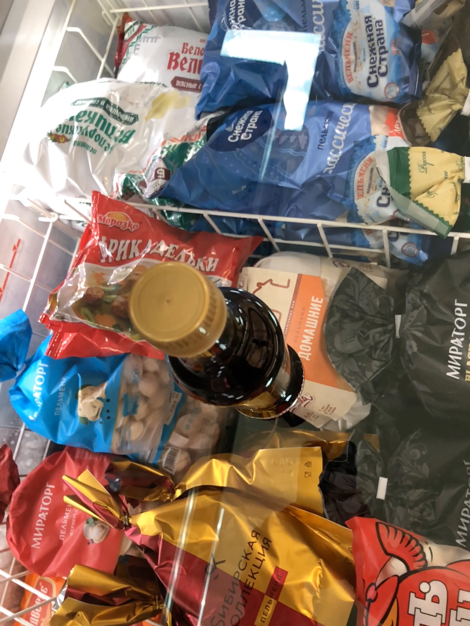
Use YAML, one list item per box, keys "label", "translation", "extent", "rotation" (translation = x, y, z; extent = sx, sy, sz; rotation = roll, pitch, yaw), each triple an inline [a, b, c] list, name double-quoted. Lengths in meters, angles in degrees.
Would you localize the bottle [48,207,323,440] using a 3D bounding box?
- label: "bottle"
  translation: [-0.004, 0.022, 0.265]
  extent: [0.070, 0.180, 0.070]
  rotation: [-5, 72, 16]
